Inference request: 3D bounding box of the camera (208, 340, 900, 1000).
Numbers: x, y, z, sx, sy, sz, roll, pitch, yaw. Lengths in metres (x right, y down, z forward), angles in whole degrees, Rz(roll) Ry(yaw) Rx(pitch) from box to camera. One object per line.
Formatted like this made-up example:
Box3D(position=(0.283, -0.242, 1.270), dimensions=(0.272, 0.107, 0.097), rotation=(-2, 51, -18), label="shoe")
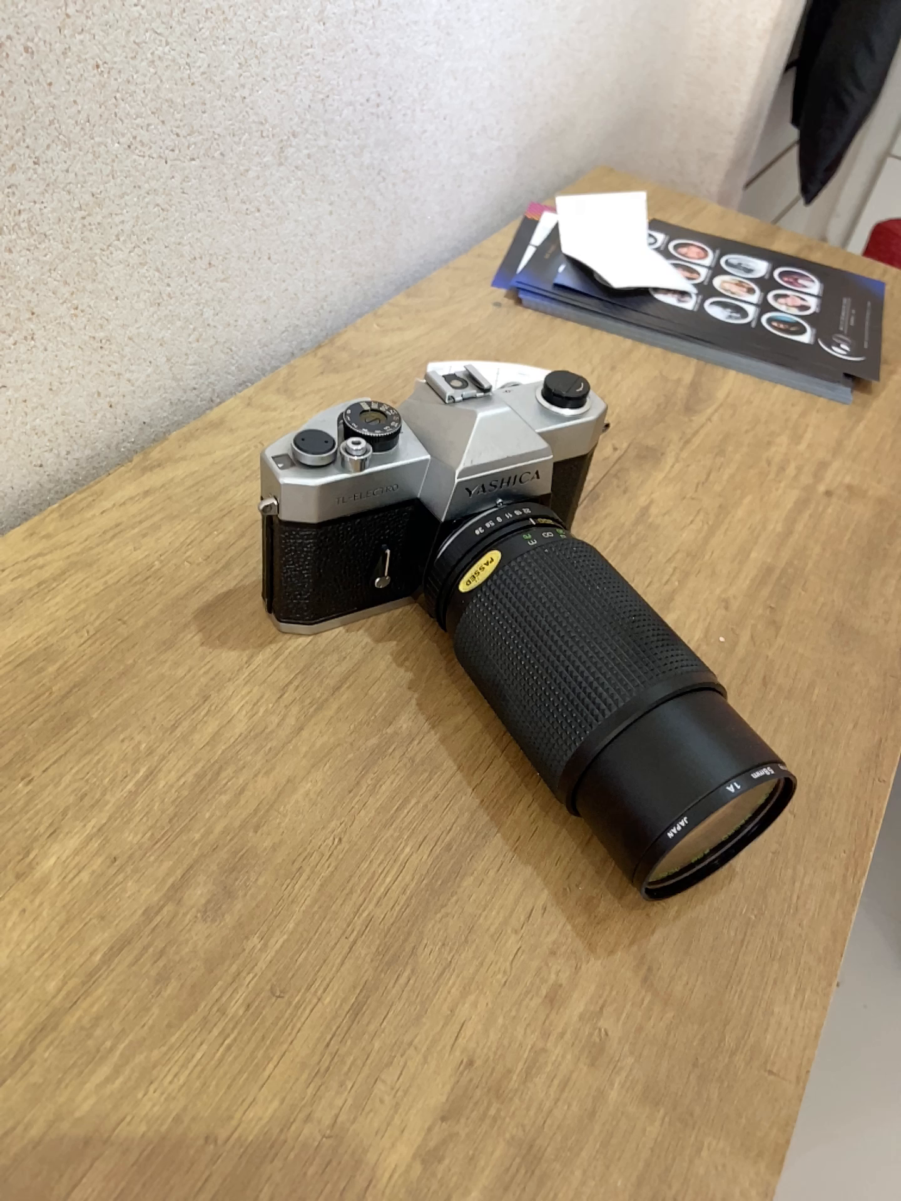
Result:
Box3D(position=(0.018, 0.003, 0.330), dimensions=(0.150, 0.080, 0.201), rotation=(-14, 49, -23), label="camera")
